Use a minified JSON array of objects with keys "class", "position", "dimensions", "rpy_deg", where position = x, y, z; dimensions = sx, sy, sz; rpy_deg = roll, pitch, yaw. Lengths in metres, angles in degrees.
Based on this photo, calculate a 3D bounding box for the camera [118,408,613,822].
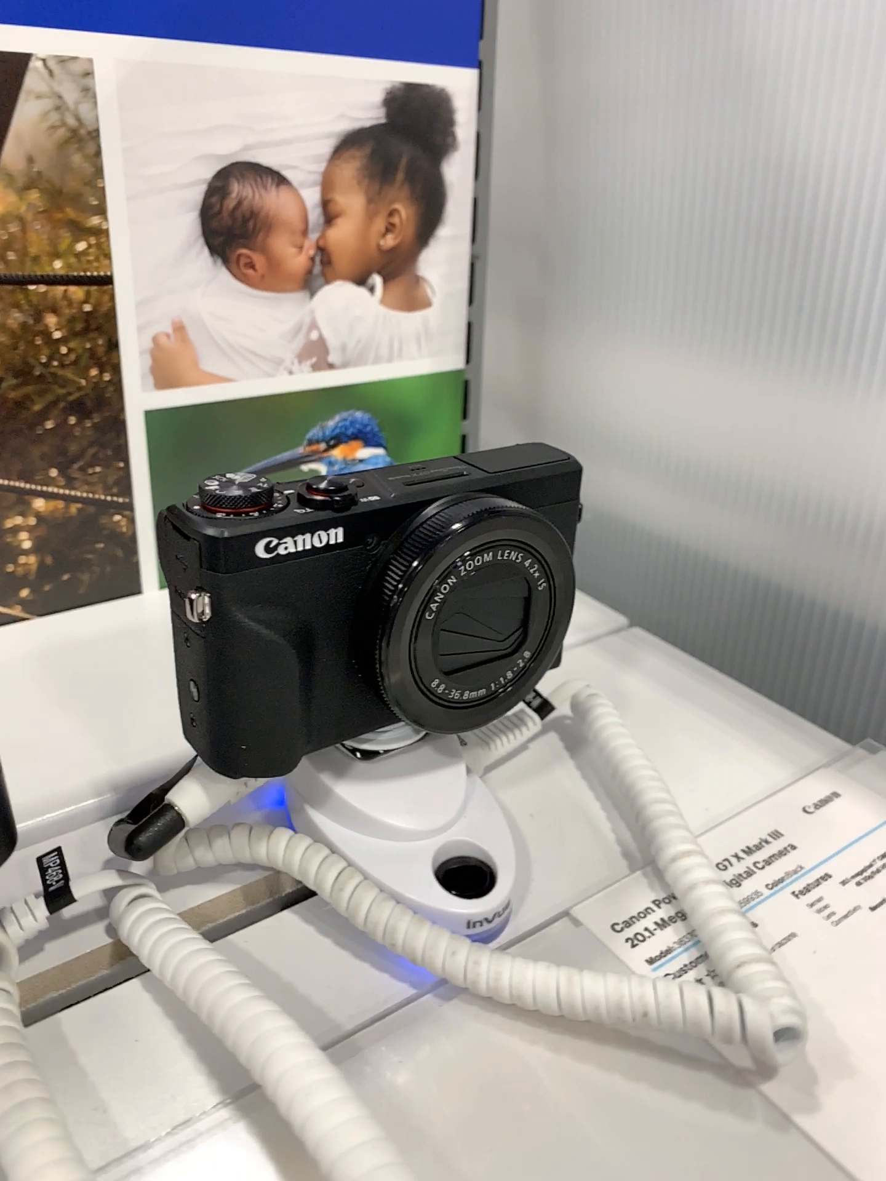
[{"class":"camera","position":[-0.016,0.000,0.232],"dimensions":[0.110,0.070,0.040],"rpy_deg":[-15,30,-31]}]
